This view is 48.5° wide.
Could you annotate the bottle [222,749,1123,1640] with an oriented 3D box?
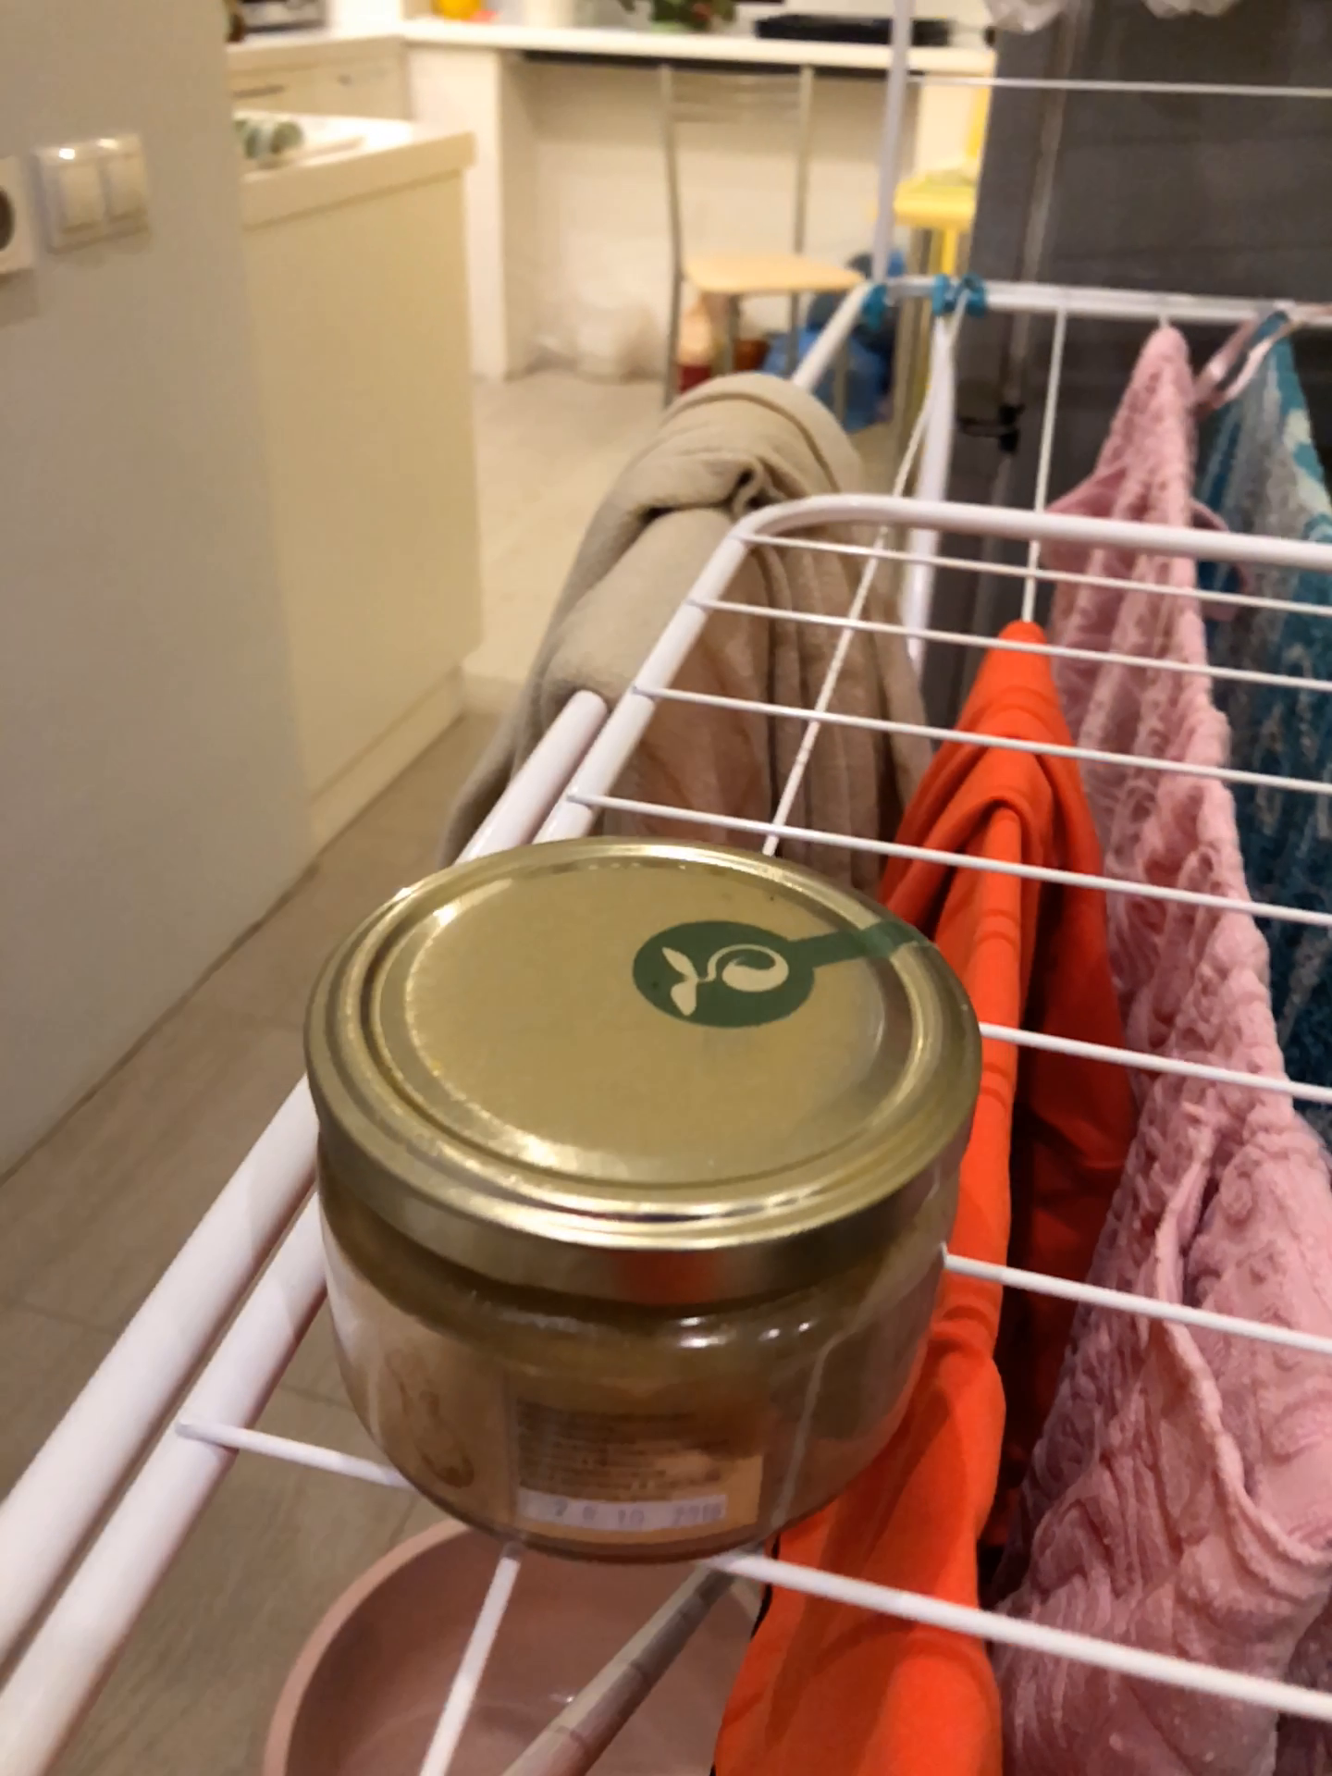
[{"bbox_3d":[-0.007,0.032,0.197,0.090,0.060,0.091,1,32,-1],"label":"bottle"}]
